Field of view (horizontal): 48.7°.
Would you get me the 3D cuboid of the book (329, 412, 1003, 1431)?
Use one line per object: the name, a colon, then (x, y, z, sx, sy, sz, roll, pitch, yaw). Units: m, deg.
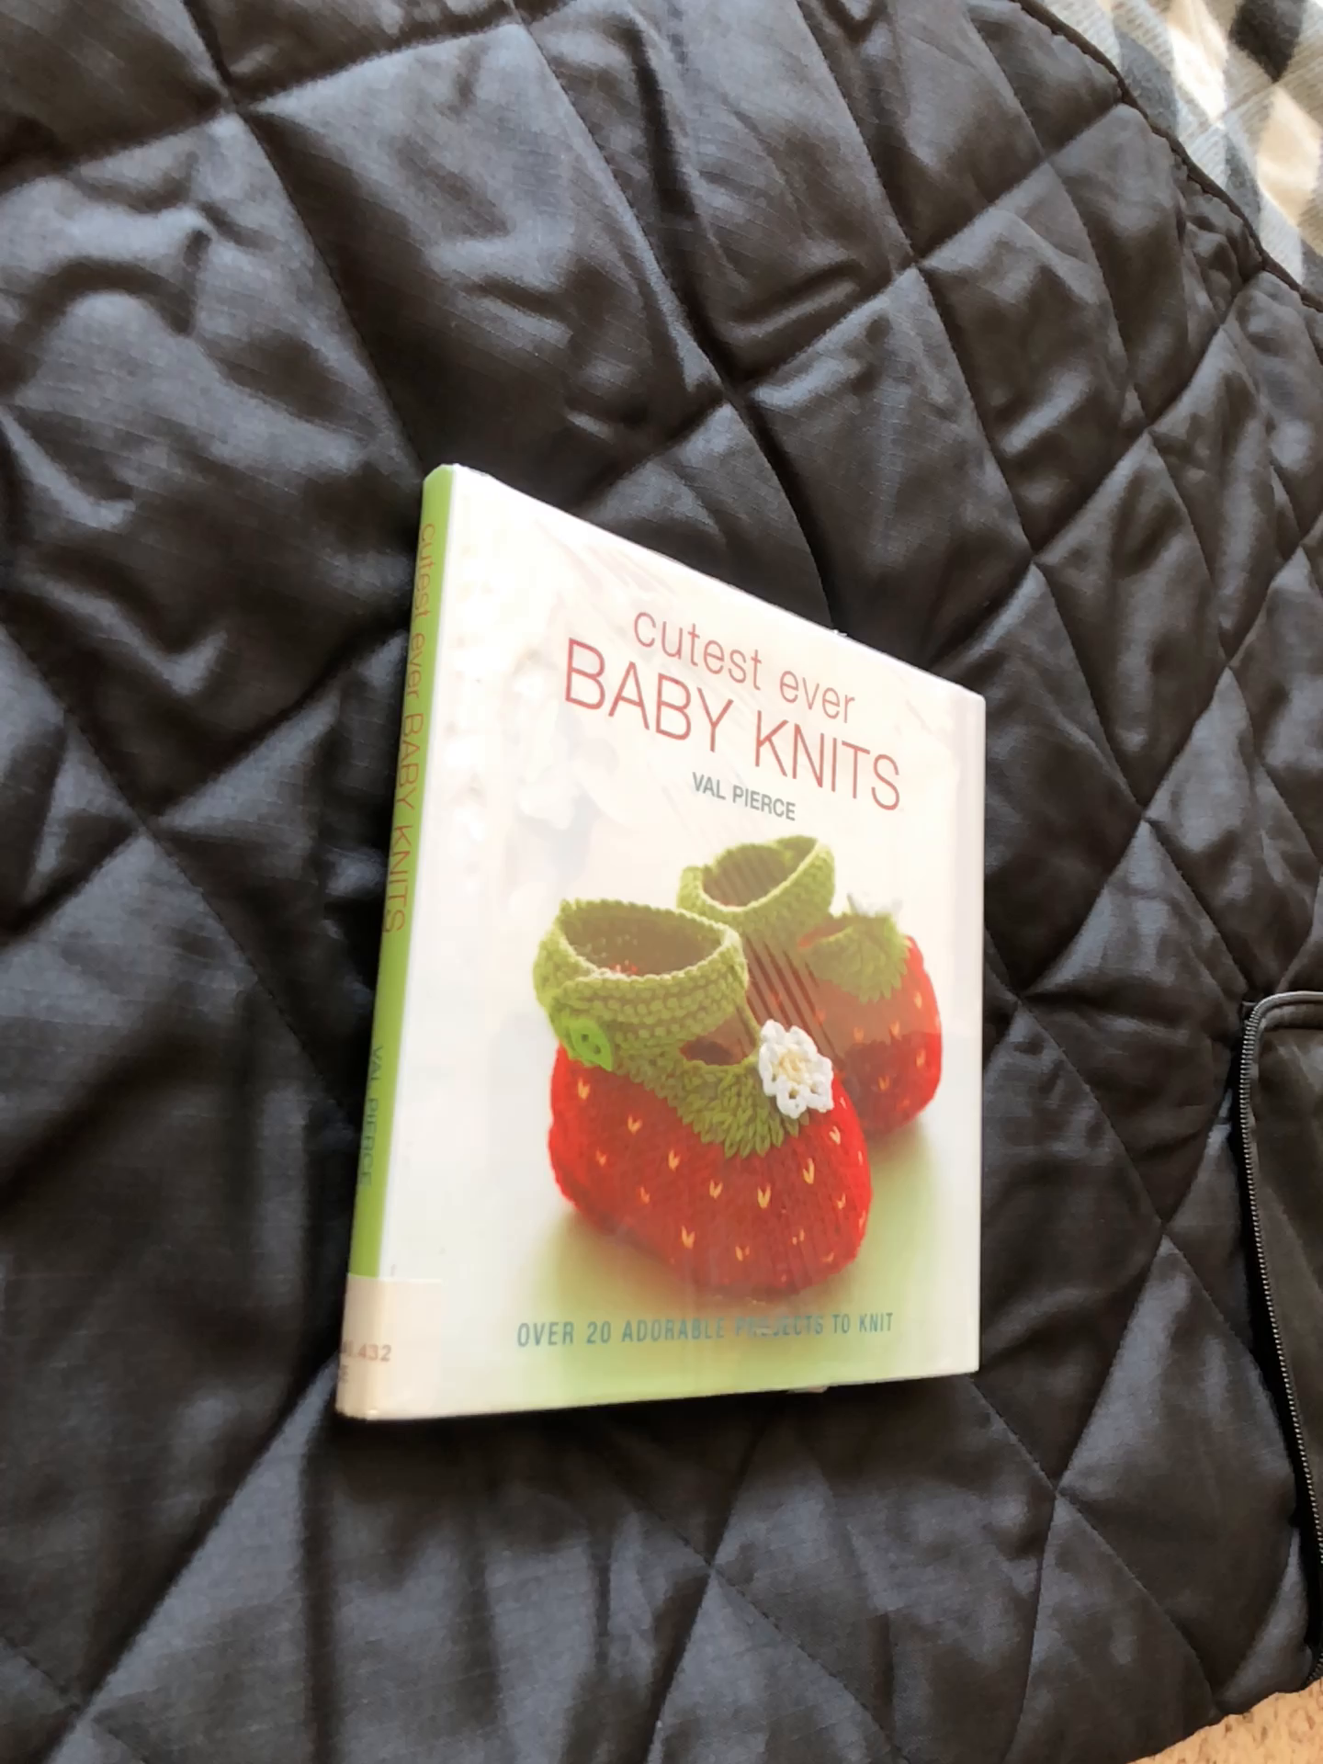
book: (0.019, 0.019, 0.358, 0.198, 0.020, 0.200, 14, 75, -43)
